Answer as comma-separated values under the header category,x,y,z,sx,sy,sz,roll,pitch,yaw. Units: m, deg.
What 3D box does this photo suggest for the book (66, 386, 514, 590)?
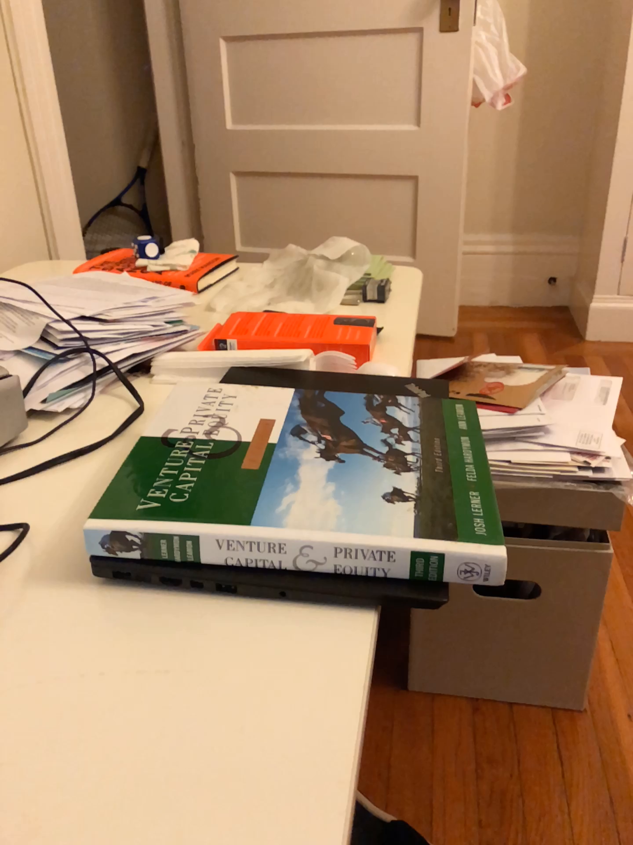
category,x,y,z,sx,sy,sz,roll,pitch,yaw
book,-0.009,0.034,0.522,0.270,0.030,0.221,2,26,5
